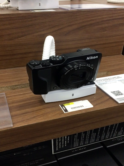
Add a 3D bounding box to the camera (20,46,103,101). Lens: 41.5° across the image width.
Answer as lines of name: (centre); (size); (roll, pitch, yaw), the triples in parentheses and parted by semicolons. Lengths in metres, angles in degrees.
camera: (0.000, -0.018, 0.294); (0.128, 0.074, 0.036); (-14, 44, -20)
